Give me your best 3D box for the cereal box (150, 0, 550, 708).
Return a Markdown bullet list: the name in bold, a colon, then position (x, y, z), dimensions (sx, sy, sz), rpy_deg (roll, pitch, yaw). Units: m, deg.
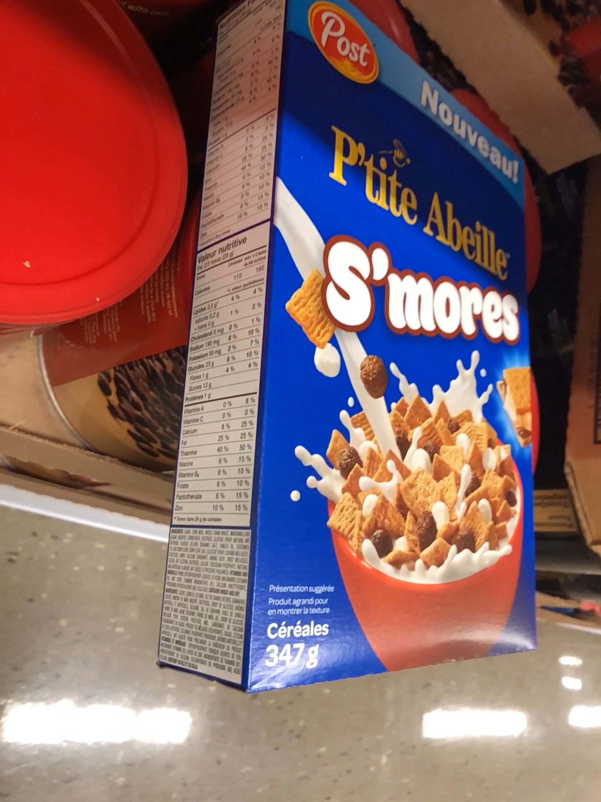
- **cereal box**: position (0.044, -0.023, 0.331), dimensions (0.201, 0.060, 0.290), rpy_deg (15, 73, -42)
